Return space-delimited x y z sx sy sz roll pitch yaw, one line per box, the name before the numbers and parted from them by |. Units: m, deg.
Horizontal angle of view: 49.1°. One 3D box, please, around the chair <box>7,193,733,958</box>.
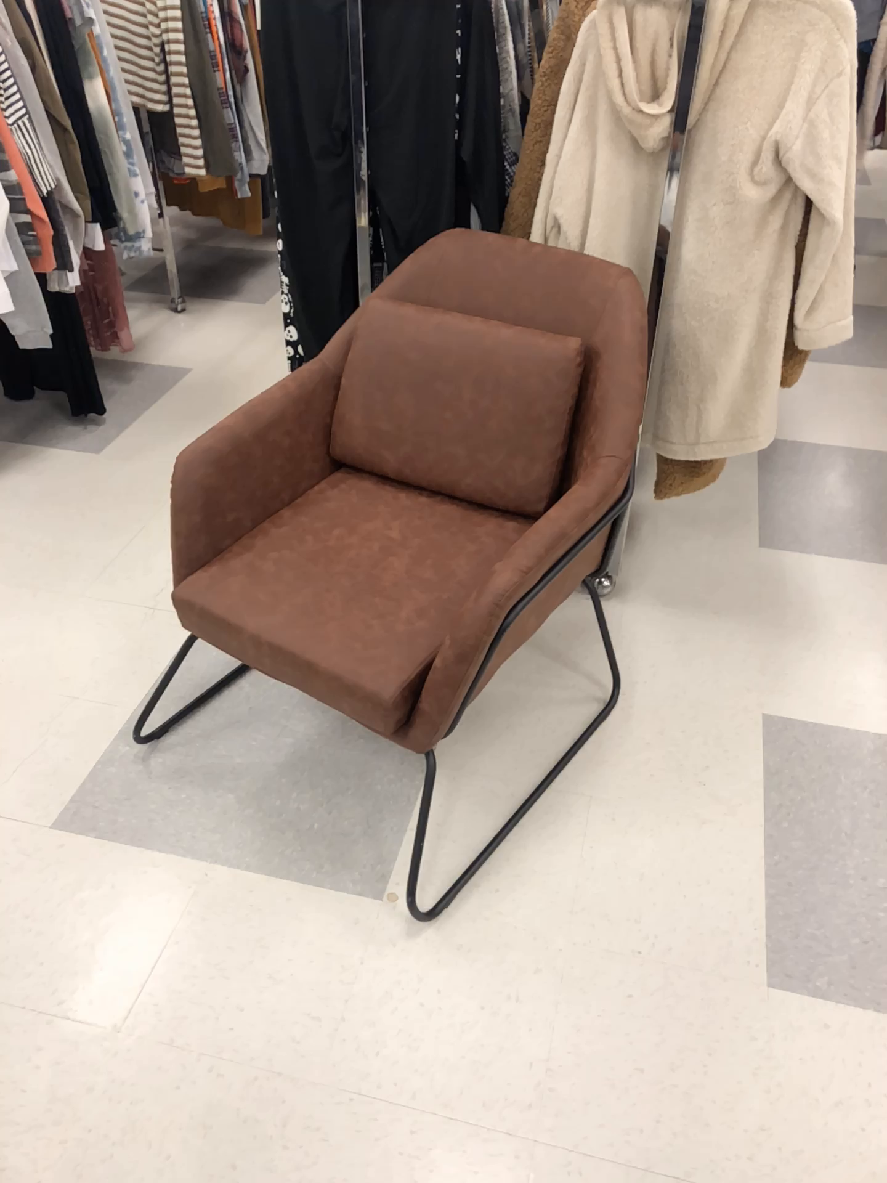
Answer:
chair | -0.079 -0.095 1.656 0.735 0.849 0.762 23 42 28
